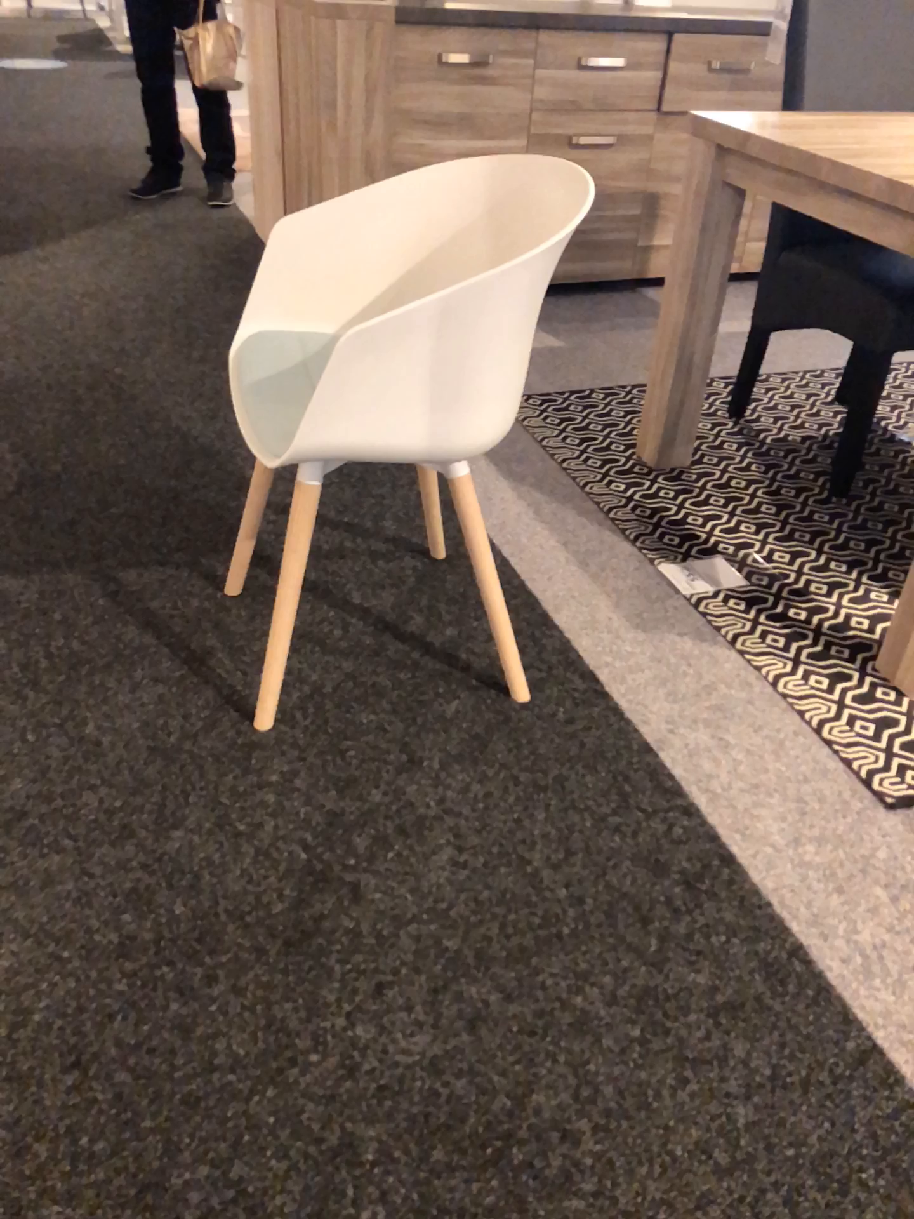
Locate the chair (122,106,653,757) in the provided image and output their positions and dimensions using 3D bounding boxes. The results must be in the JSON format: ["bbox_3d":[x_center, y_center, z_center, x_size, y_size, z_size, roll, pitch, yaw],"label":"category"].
[{"bbox_3d":[-0.147,-0.294,1.511,0.581,0.765,0.552,-7,35,-16],"label":"chair"}]
